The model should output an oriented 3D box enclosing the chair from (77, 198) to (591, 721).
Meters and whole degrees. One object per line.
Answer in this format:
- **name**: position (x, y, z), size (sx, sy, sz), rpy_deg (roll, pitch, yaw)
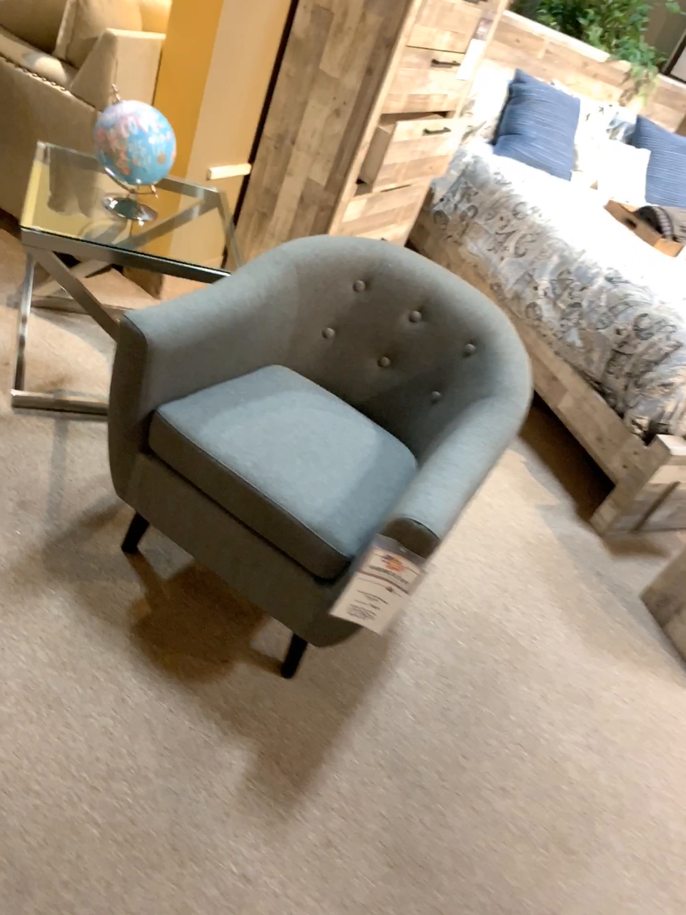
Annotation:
- **chair**: position (-0.025, -0.058, 1.640), size (0.747, 0.701, 0.745), rpy_deg (35, 38, 14)
